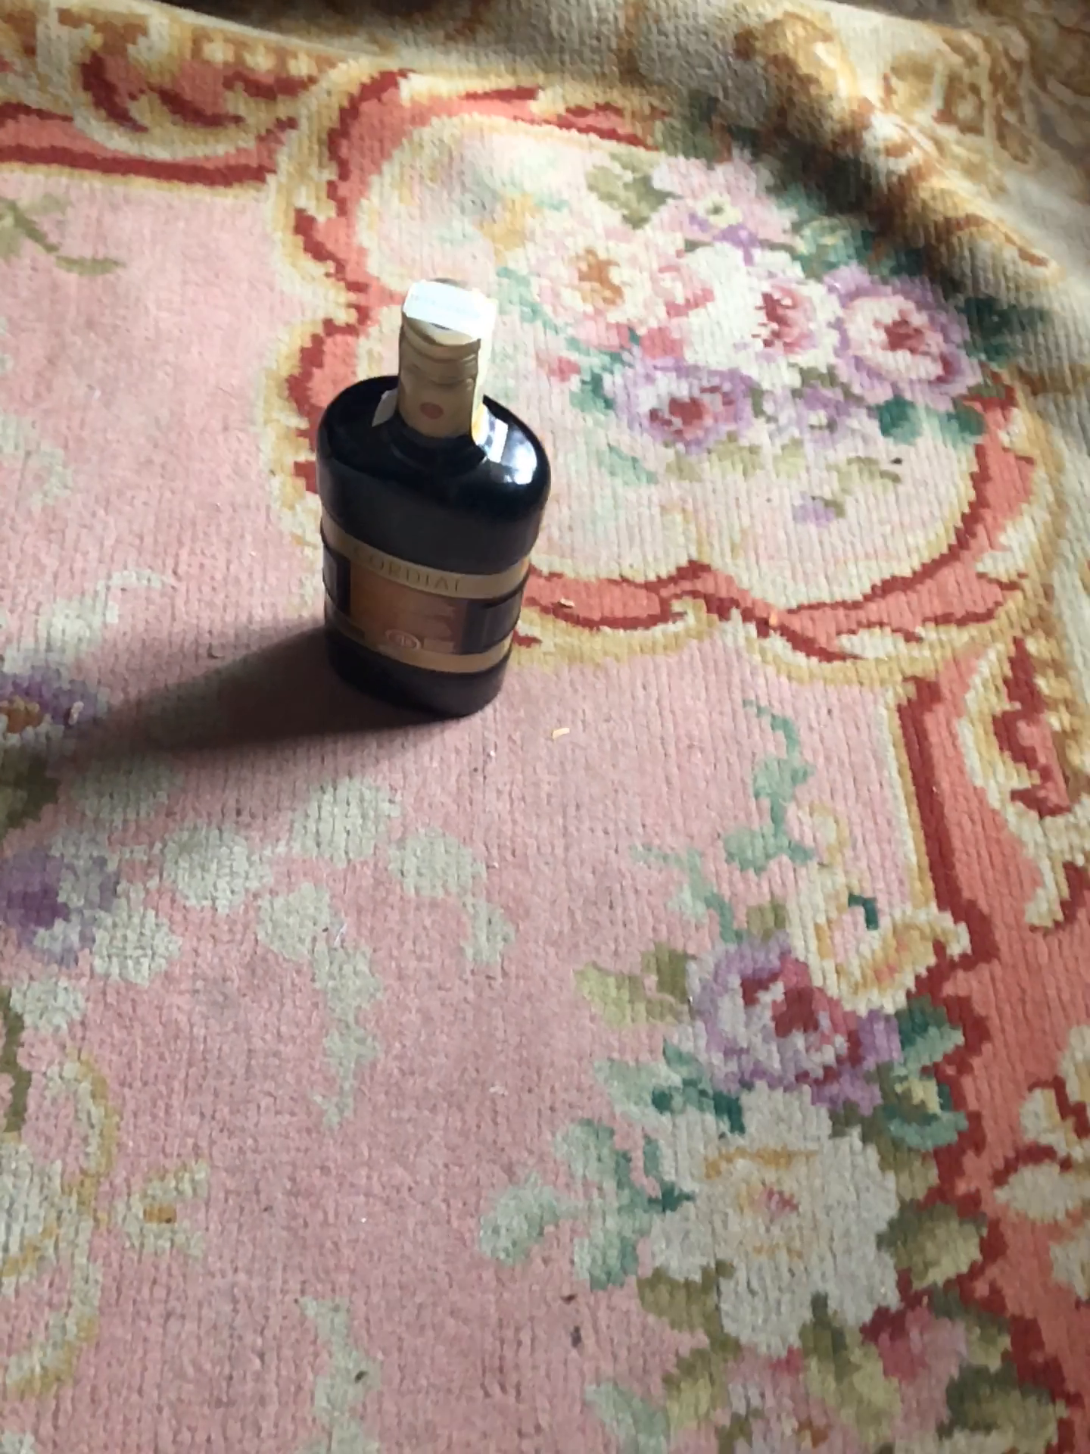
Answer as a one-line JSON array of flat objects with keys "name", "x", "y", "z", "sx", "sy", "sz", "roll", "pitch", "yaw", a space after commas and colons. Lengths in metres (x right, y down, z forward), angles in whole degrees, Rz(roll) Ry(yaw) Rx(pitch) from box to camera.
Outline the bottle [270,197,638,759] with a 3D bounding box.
[{"name": "bottle", "x": -0.044, "y": -0.075, "z": 0.468, "sx": 0.100, "sy": 0.239, "sz": 0.050, "roll": 20, "pitch": 62, "yaw": 1}]
